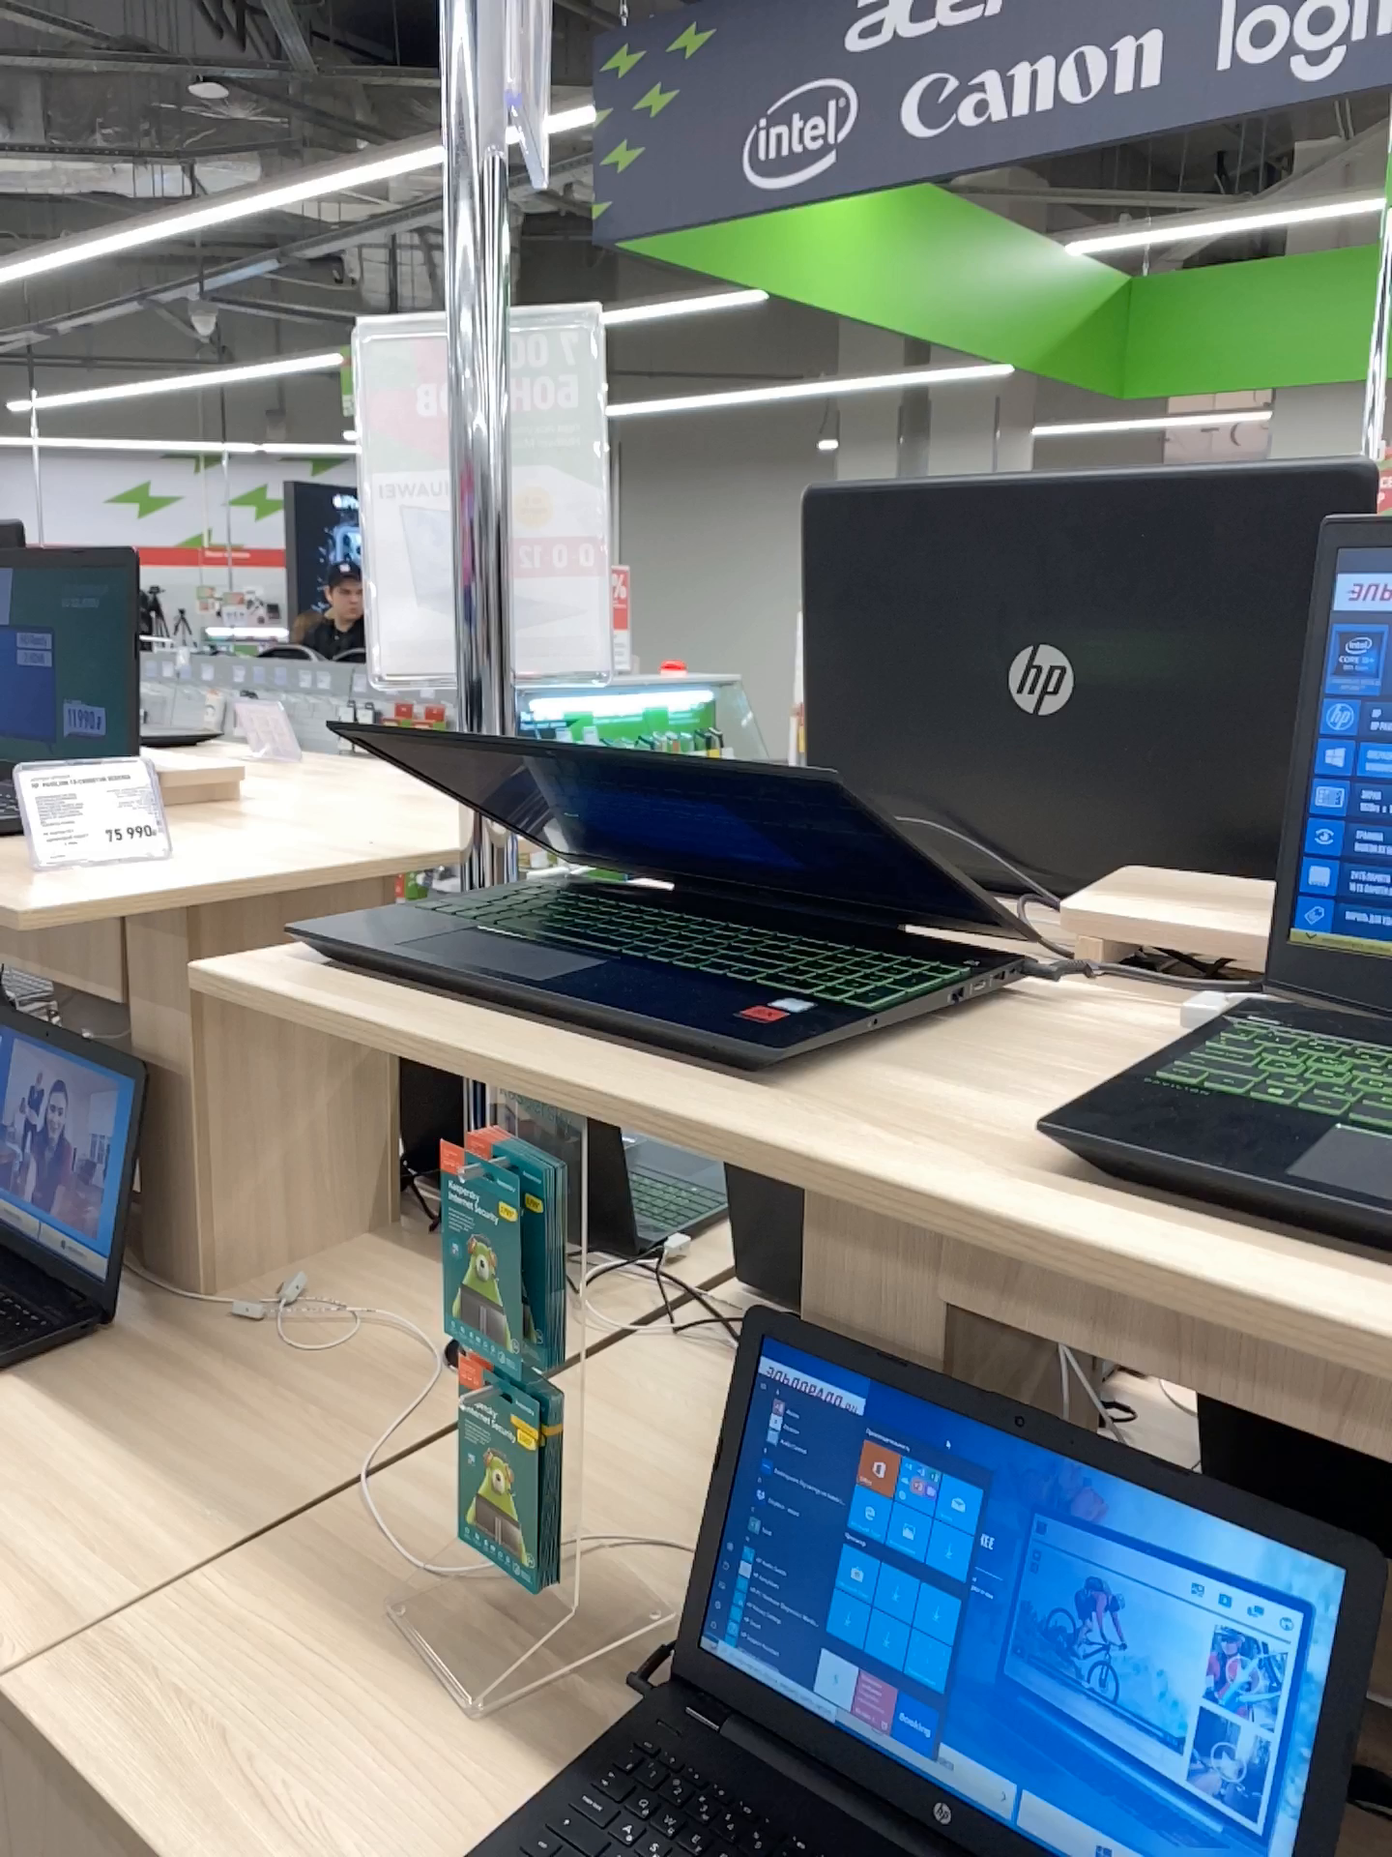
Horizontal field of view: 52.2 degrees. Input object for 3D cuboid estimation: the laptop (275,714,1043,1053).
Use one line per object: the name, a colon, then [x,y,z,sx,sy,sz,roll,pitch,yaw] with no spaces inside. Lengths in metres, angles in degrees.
laptop: [-0.028,-0.049,0.810,0.365,0.115,0.244,11,15,39]
